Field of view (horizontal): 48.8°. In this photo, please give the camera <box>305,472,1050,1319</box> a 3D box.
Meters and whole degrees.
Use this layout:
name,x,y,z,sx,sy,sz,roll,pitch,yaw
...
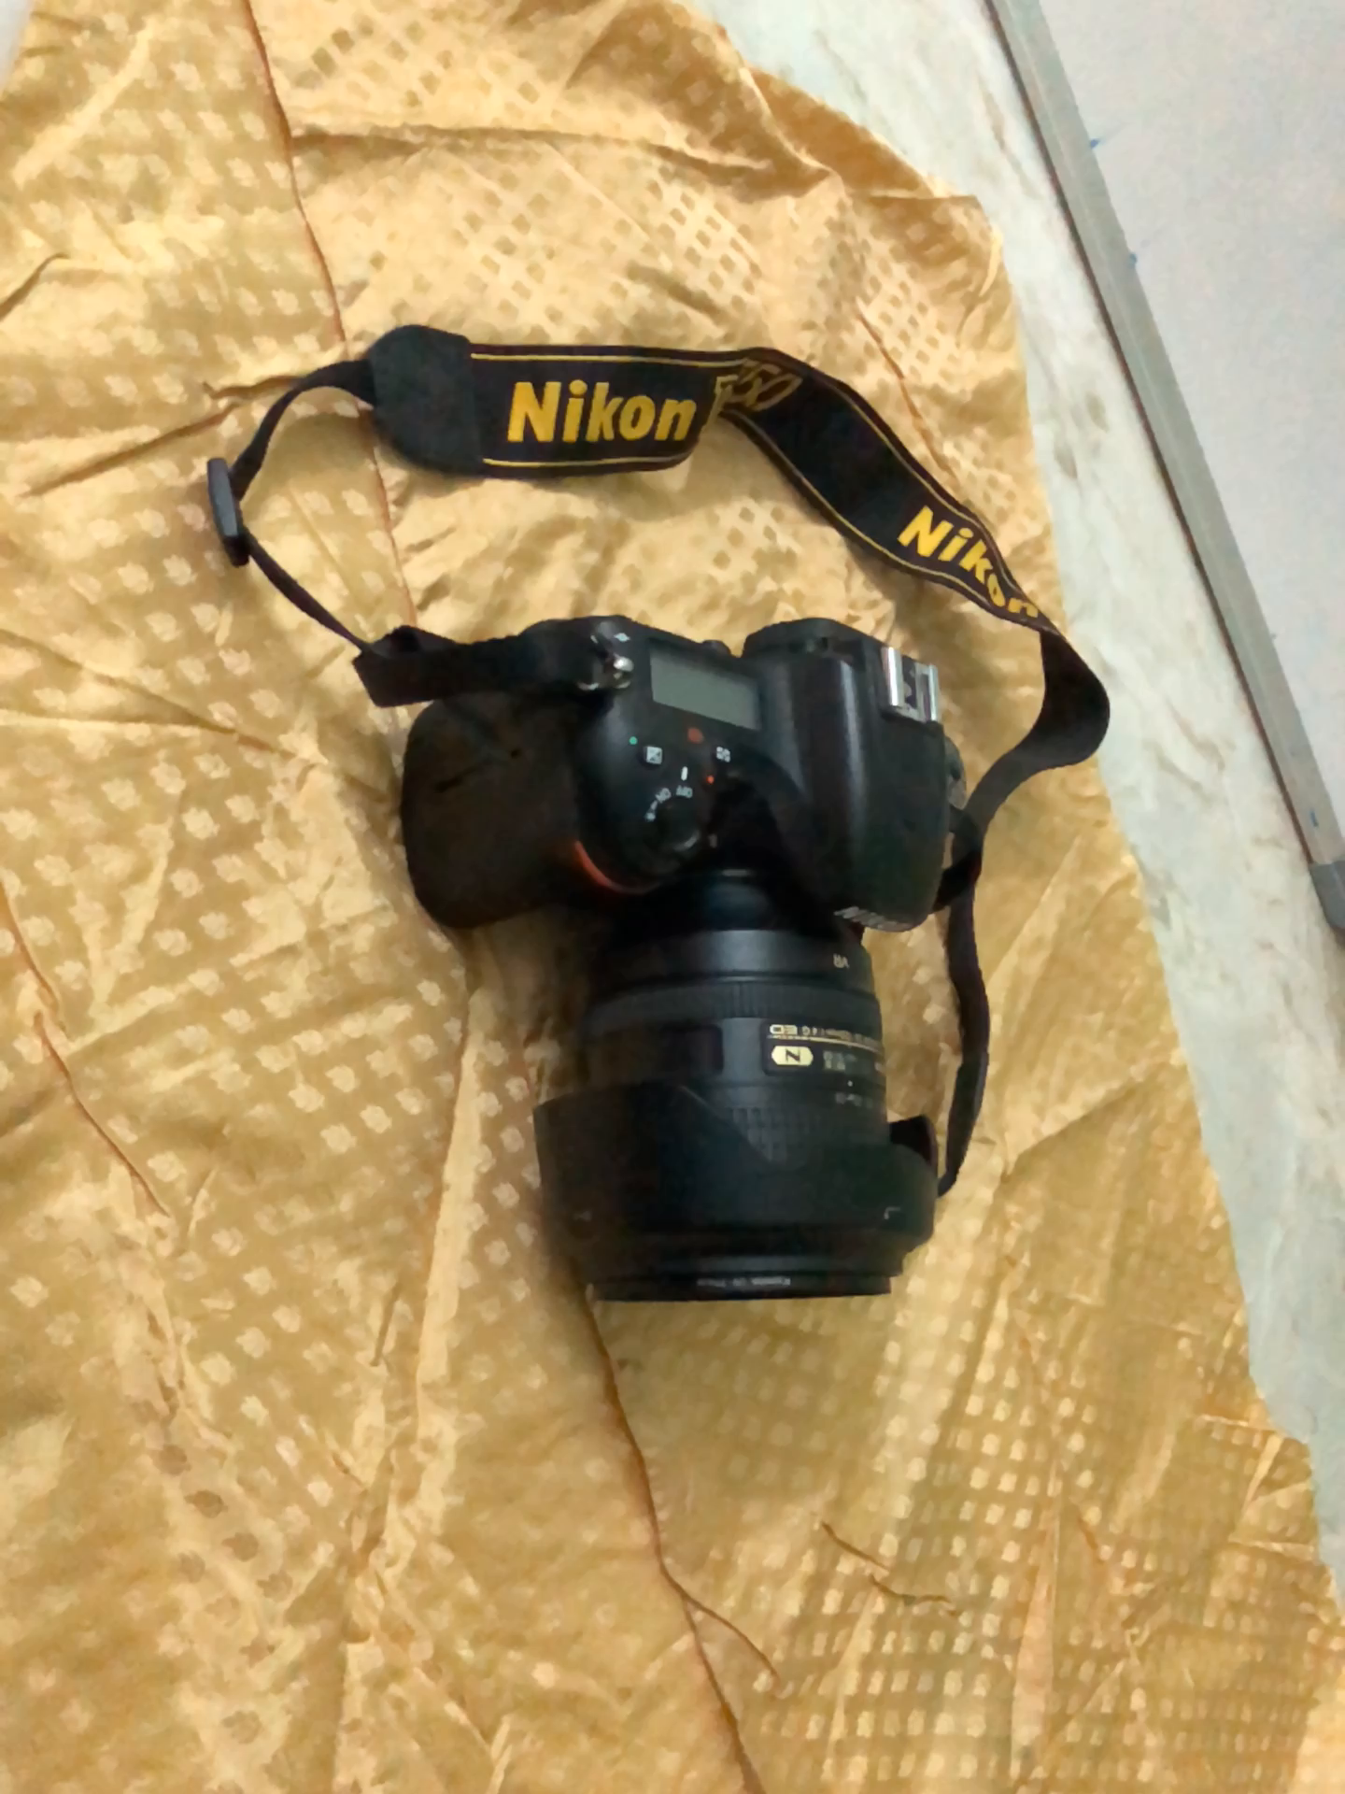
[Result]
name,x,y,z,sx,sy,sz,roll,pitch,yaw
camera,0.003,0.012,0.382,0.149,0.109,0.170,10,75,-42
